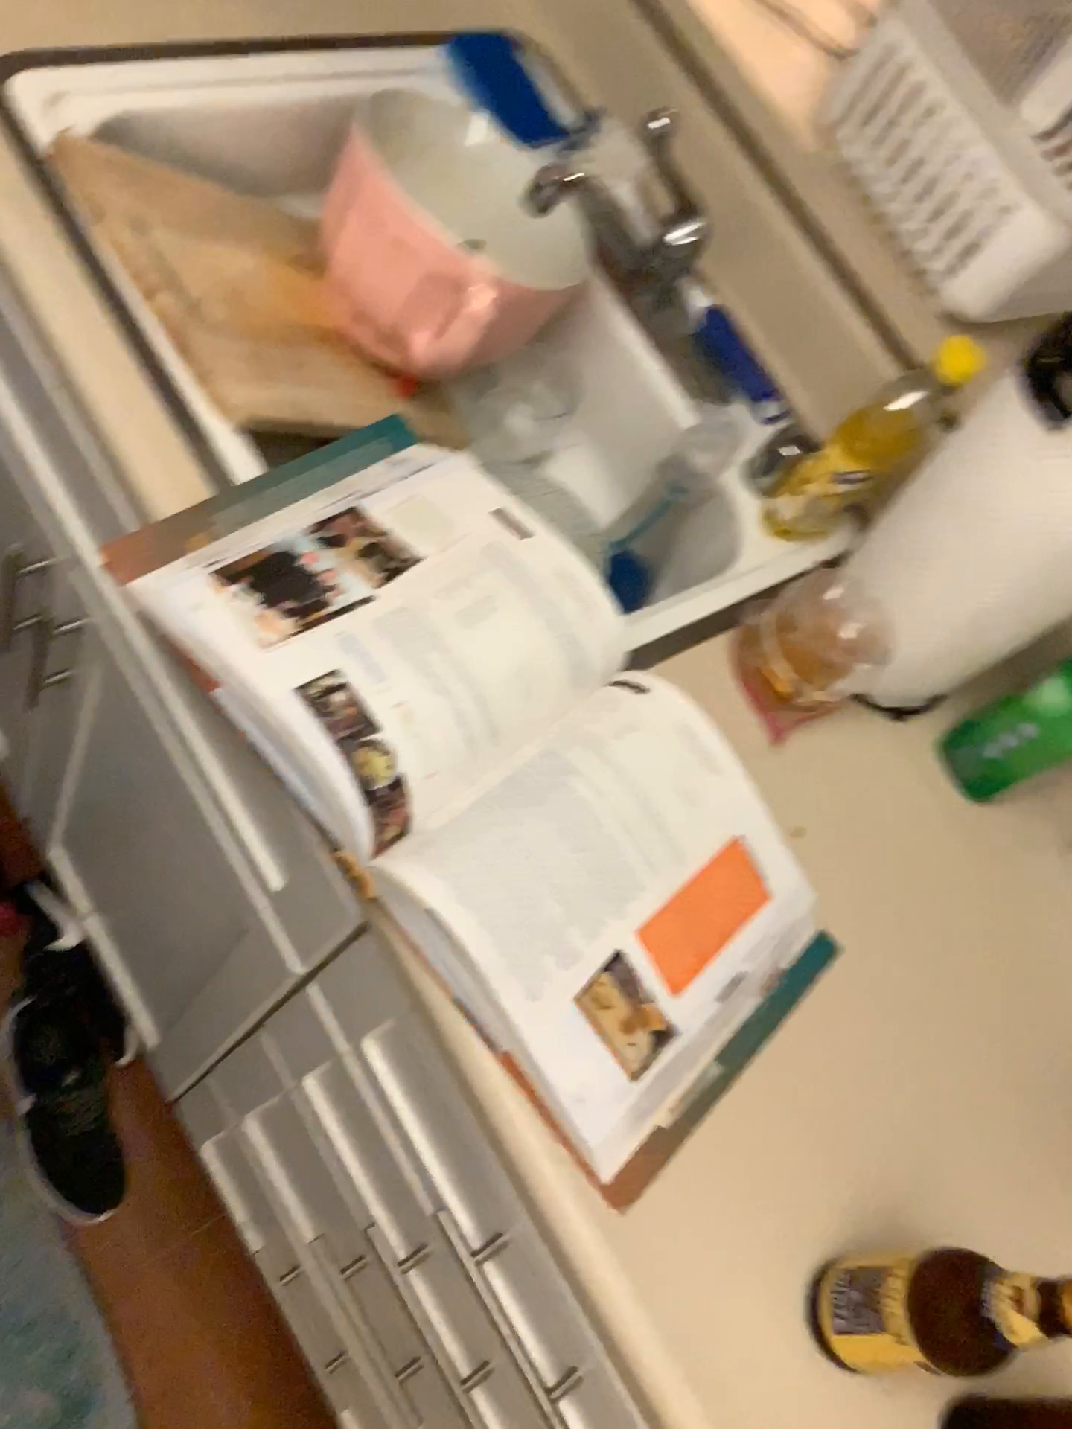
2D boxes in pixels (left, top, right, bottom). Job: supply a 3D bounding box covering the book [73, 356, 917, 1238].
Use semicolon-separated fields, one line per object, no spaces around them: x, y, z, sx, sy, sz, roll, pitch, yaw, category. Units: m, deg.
-0.007;0.019;0.785;0.310;0.040;0.530;-37;85;-36;book
